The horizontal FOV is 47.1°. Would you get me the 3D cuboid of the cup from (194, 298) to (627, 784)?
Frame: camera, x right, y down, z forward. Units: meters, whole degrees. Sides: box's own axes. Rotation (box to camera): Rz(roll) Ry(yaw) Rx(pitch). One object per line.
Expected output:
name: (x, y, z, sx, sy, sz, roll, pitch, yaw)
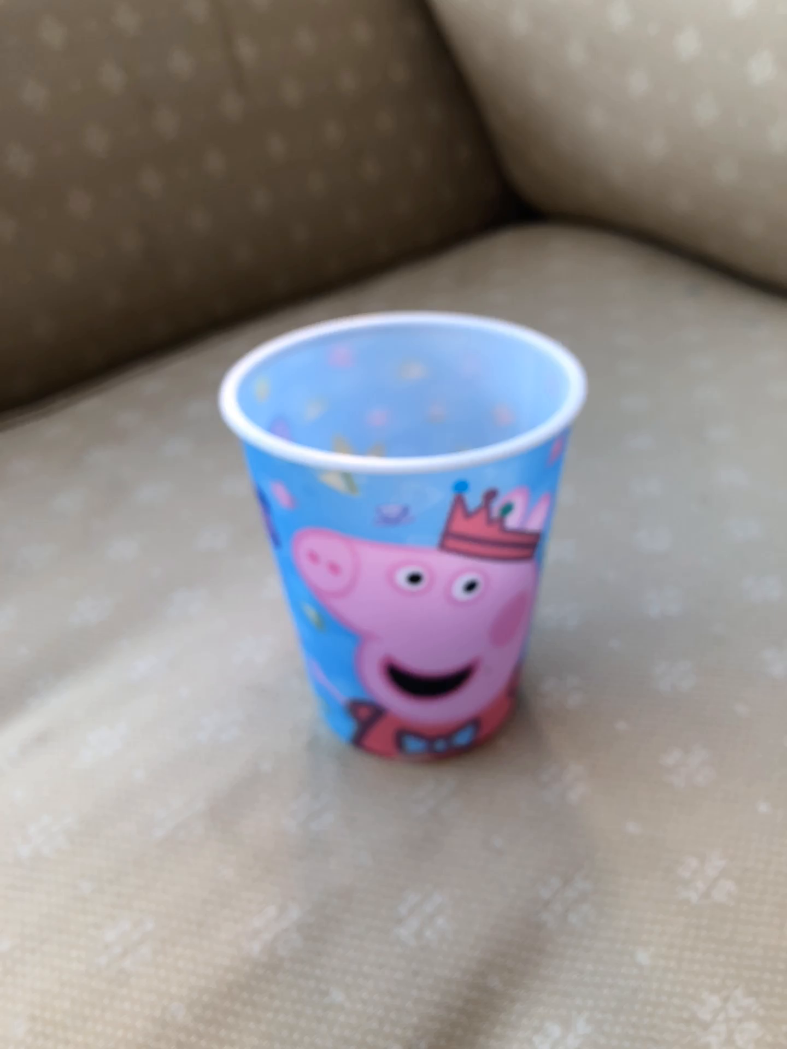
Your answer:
cup: (0.006, 0.004, 0.255, 0.091, 0.100, 0.087, -2, 37, 2)
